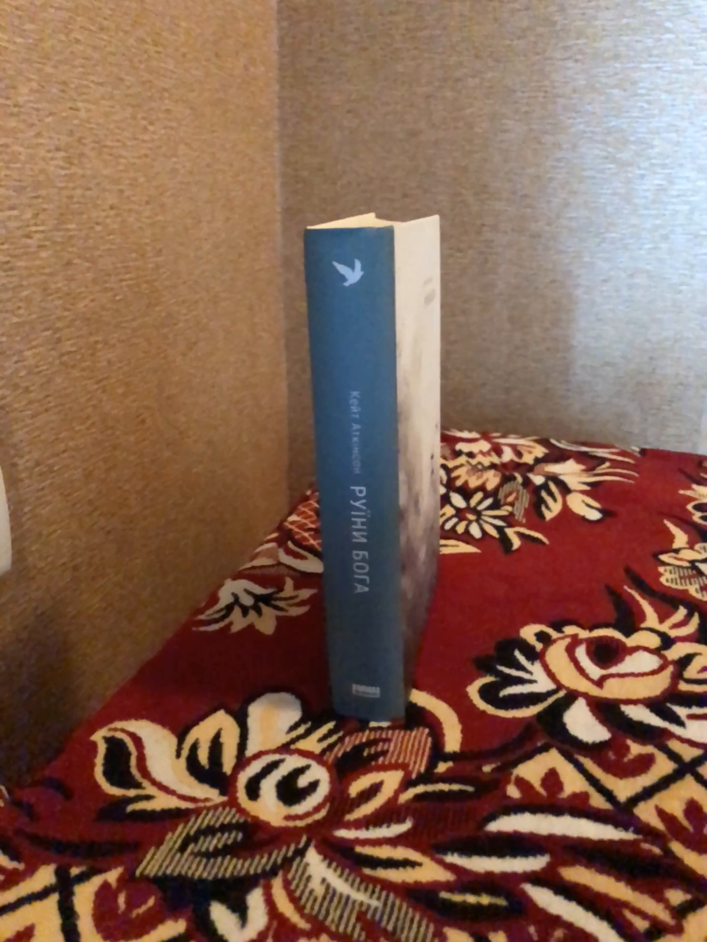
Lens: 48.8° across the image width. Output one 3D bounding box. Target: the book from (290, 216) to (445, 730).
[{"bbox_3d":[0.017,-0.012,0.380,0.040,0.210,0.151,2,18,12],"label":"book"}]
